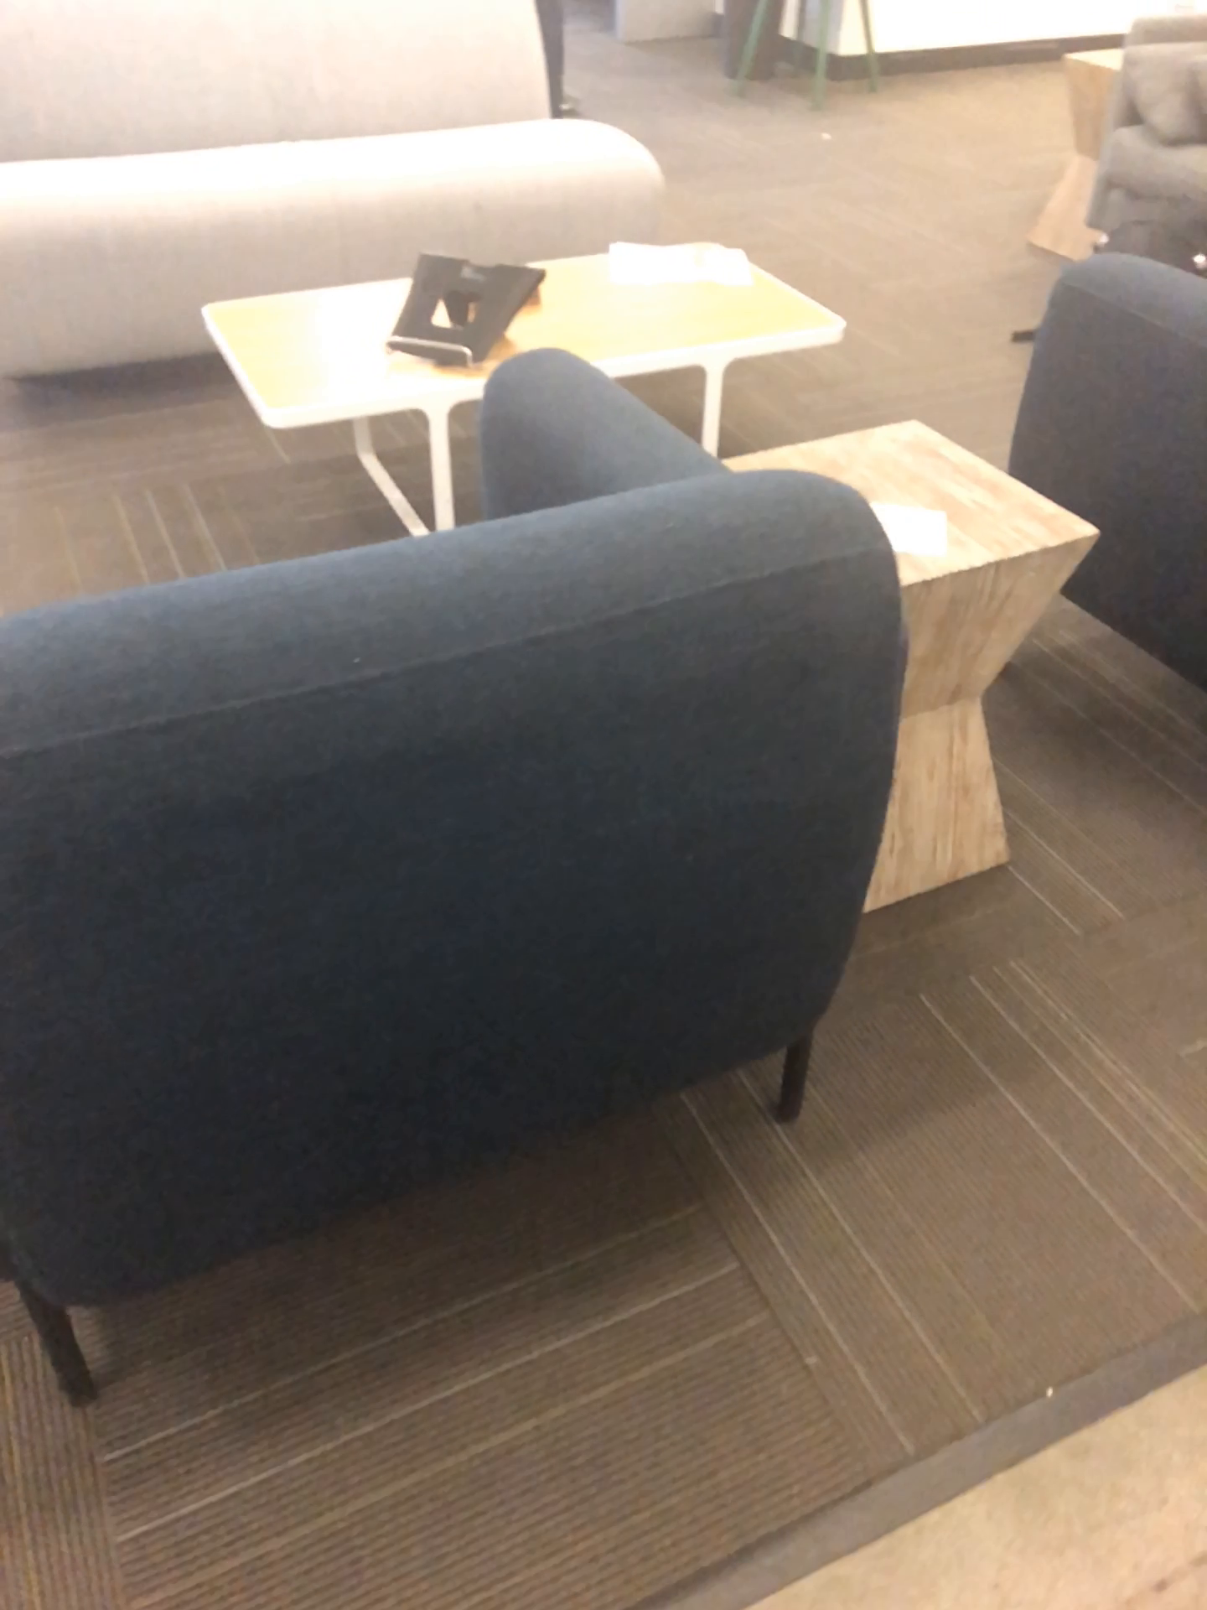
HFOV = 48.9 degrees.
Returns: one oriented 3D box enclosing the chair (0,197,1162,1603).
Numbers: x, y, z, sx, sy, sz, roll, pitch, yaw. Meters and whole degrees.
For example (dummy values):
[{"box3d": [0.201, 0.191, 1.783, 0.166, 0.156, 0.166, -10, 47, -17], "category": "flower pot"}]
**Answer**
[{"box3d": [-0.218, -0.020, 1.289, 0.923, 0.783, 0.845, -16, 42, -20], "category": "chair"}]
